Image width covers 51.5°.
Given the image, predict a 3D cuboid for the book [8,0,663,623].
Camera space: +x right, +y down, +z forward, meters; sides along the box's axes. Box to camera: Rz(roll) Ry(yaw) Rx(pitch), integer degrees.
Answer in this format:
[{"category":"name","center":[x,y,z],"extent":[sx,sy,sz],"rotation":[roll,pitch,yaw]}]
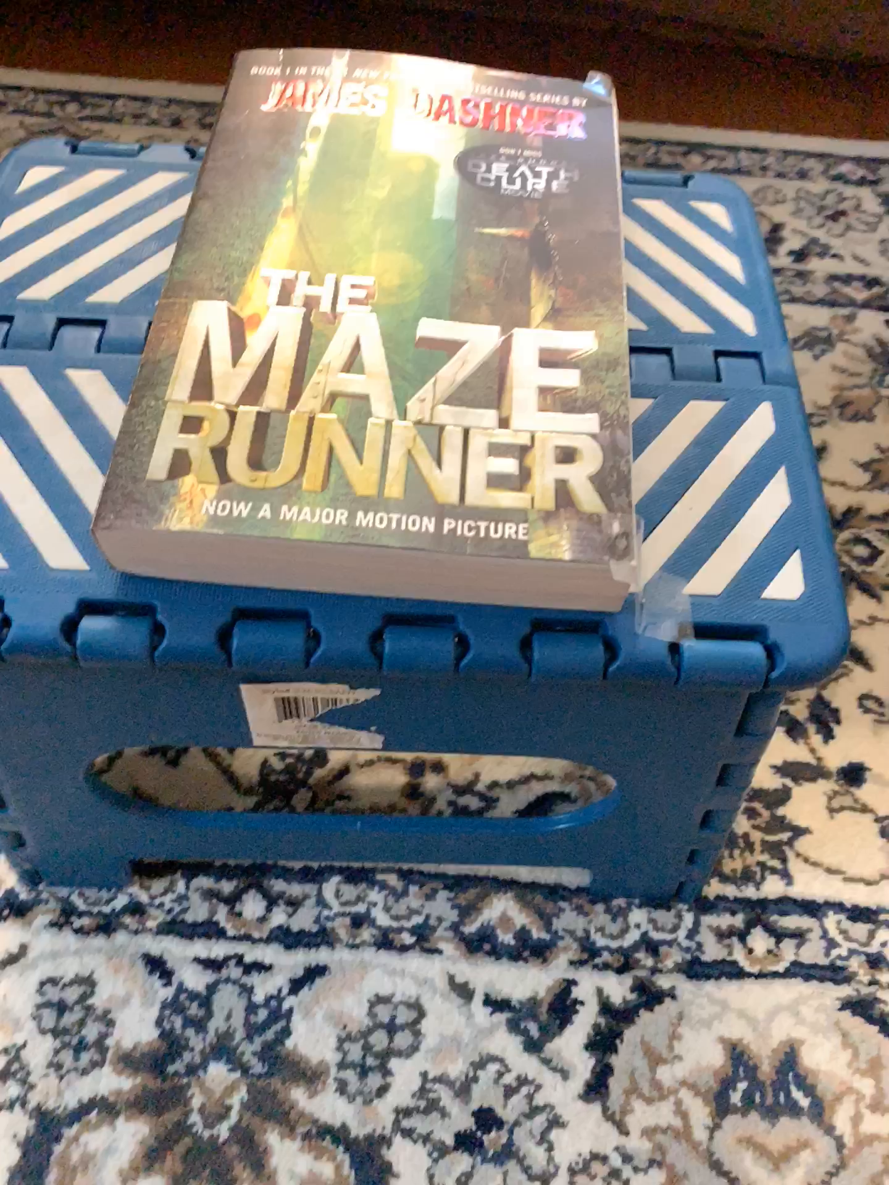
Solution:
[{"category":"book","center":[-0.017,-0.105,0.283],"extent":[0.150,0.030,0.232],"rotation":[5,59,0]}]
